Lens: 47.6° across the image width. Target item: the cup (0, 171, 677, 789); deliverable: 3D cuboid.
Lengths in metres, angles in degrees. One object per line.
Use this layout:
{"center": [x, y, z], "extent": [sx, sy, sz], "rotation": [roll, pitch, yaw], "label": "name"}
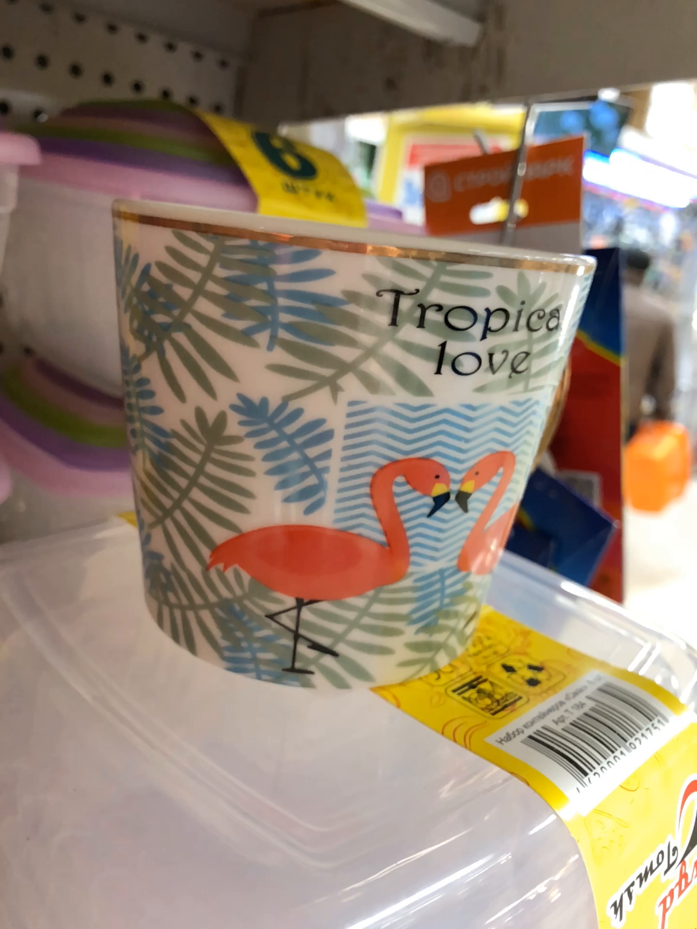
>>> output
{"center": [0.002, -0.015, 0.191], "extent": [0.102, 0.085, 0.129], "rotation": [18, 20, 30], "label": "cup"}
